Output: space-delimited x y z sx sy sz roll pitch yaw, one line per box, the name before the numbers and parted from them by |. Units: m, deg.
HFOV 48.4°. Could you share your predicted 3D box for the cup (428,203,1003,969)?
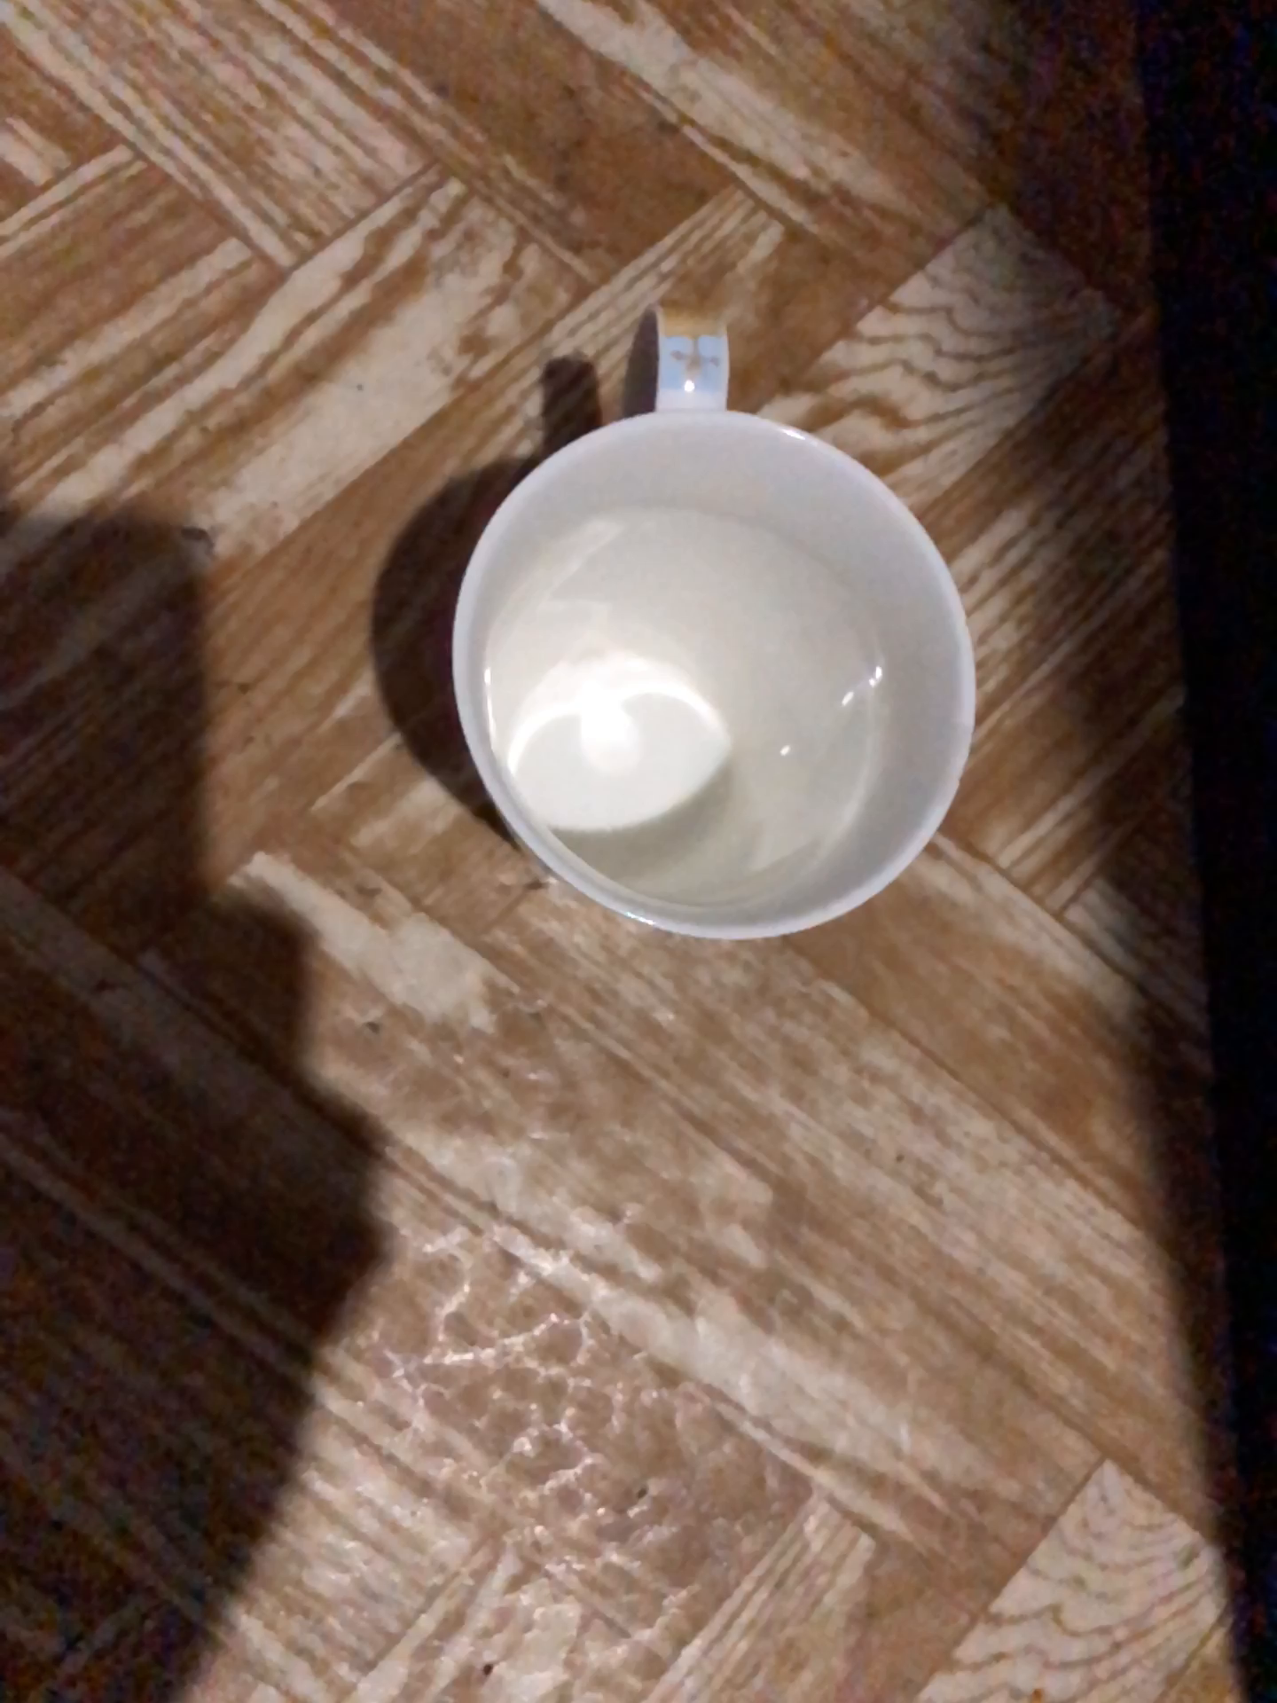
cup | 0.006 -0.040 0.276 0.087 0.093 0.120 0 83 -12
